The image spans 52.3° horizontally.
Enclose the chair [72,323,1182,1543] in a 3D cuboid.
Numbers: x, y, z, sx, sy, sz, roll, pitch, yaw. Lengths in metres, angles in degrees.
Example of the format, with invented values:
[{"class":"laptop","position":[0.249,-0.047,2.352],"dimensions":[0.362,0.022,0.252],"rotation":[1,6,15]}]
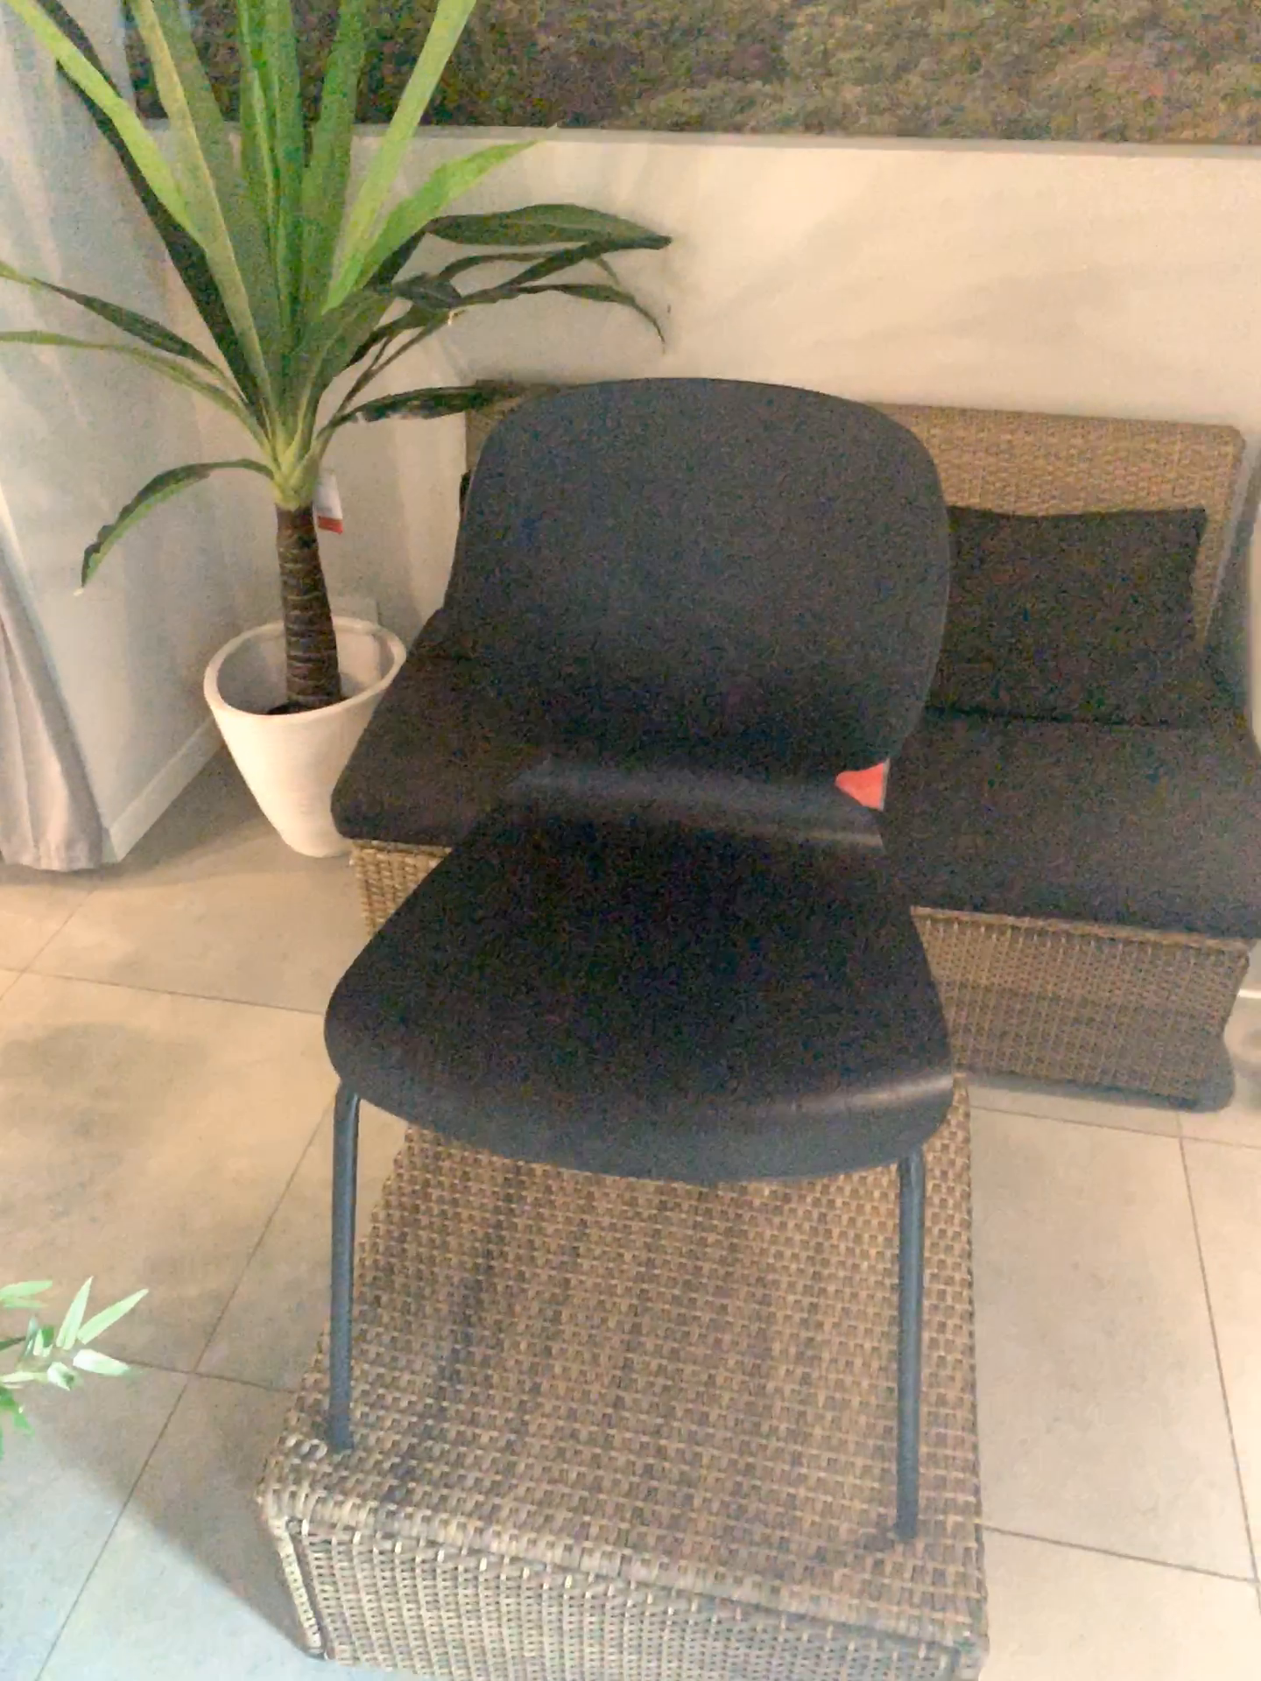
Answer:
[{"class":"chair","position":[0.025,0.061,1.055],"dimensions":[0.530,0.767,0.562],"rotation":[6,36,7]}]
